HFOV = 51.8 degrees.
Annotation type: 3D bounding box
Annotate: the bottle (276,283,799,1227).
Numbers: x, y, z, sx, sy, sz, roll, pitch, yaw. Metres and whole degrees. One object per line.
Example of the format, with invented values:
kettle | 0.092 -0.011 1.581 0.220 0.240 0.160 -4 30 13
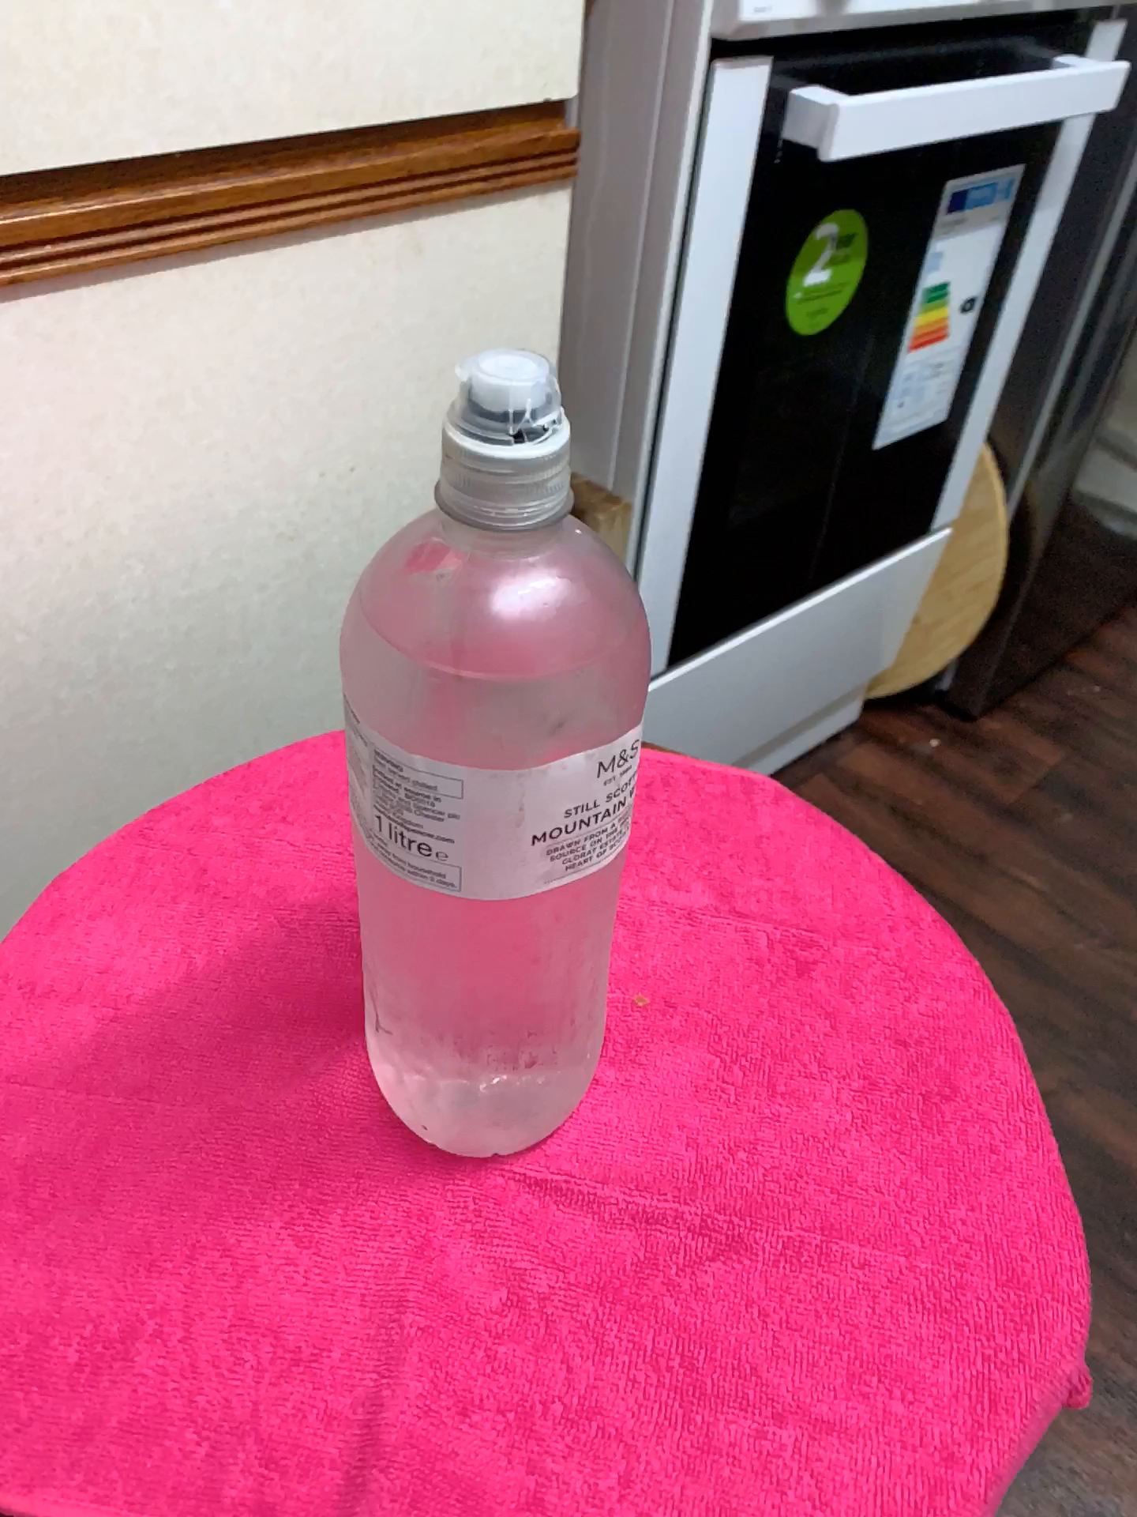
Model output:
bottle | -0.013 0.014 0.341 0.080 0.258 0.091 24 43 20
